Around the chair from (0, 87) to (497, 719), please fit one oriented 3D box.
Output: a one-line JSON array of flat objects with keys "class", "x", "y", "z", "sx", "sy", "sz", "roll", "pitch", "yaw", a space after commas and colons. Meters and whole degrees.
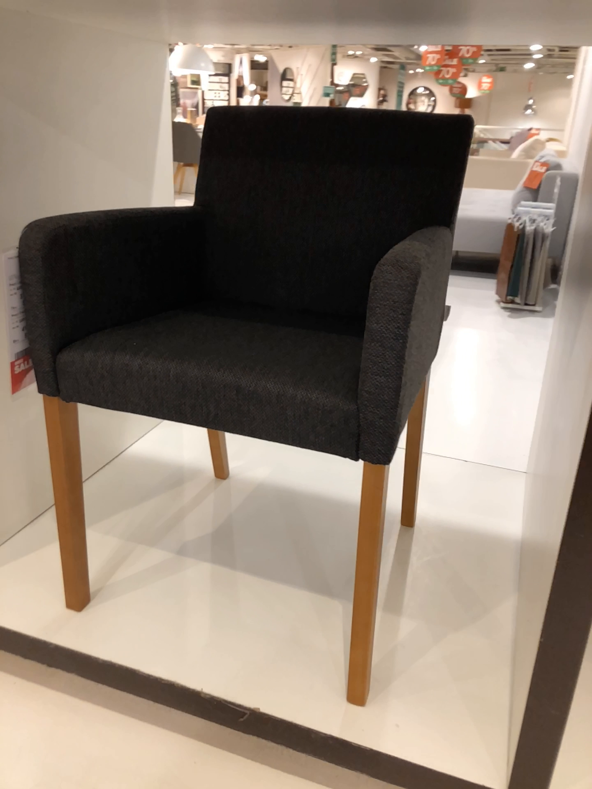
[{"class": "chair", "x": -0.036, "y": -0.057, "z": 1.101, "sx": 0.560, "sy": 0.794, "sz": 0.564, "roll": 11, "pitch": 24, "yaw": 18}]
